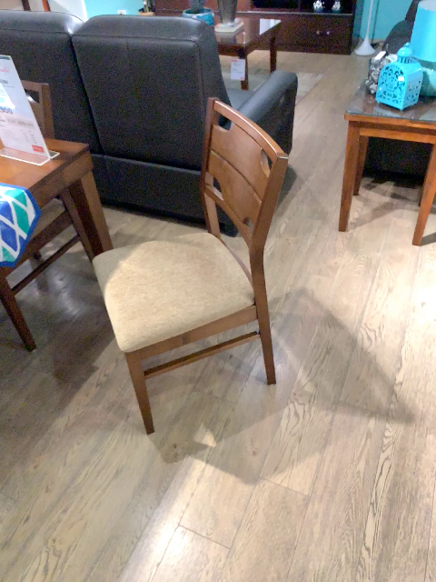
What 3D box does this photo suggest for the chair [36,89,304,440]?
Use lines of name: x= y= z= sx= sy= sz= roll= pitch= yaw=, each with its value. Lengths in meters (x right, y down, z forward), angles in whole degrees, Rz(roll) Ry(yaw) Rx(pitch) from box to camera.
chair: x=-0.119 y=-0.059 z=1.349 sx=0.530 sy=0.827 sz=0.472 roll=-18 pitch=44 yaw=-13
